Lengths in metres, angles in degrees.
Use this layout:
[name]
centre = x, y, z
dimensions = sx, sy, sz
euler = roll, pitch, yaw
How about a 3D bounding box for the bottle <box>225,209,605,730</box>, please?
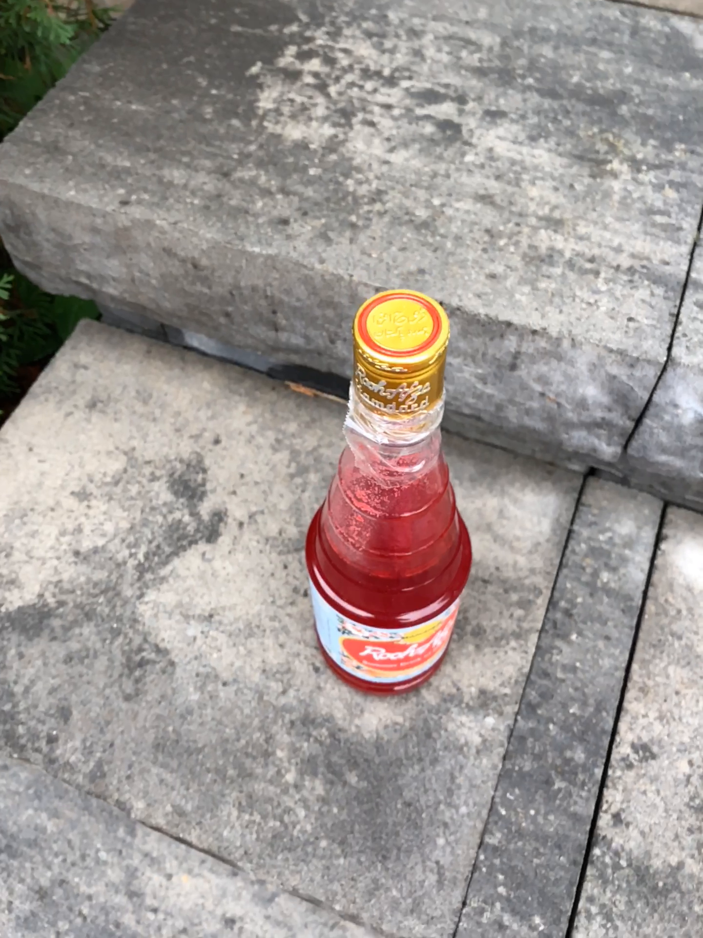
[bottle]
centre = 0.018, 0.031, 0.355
dimensions = 0.090, 0.279, 0.080
euler = -17, 60, -9
